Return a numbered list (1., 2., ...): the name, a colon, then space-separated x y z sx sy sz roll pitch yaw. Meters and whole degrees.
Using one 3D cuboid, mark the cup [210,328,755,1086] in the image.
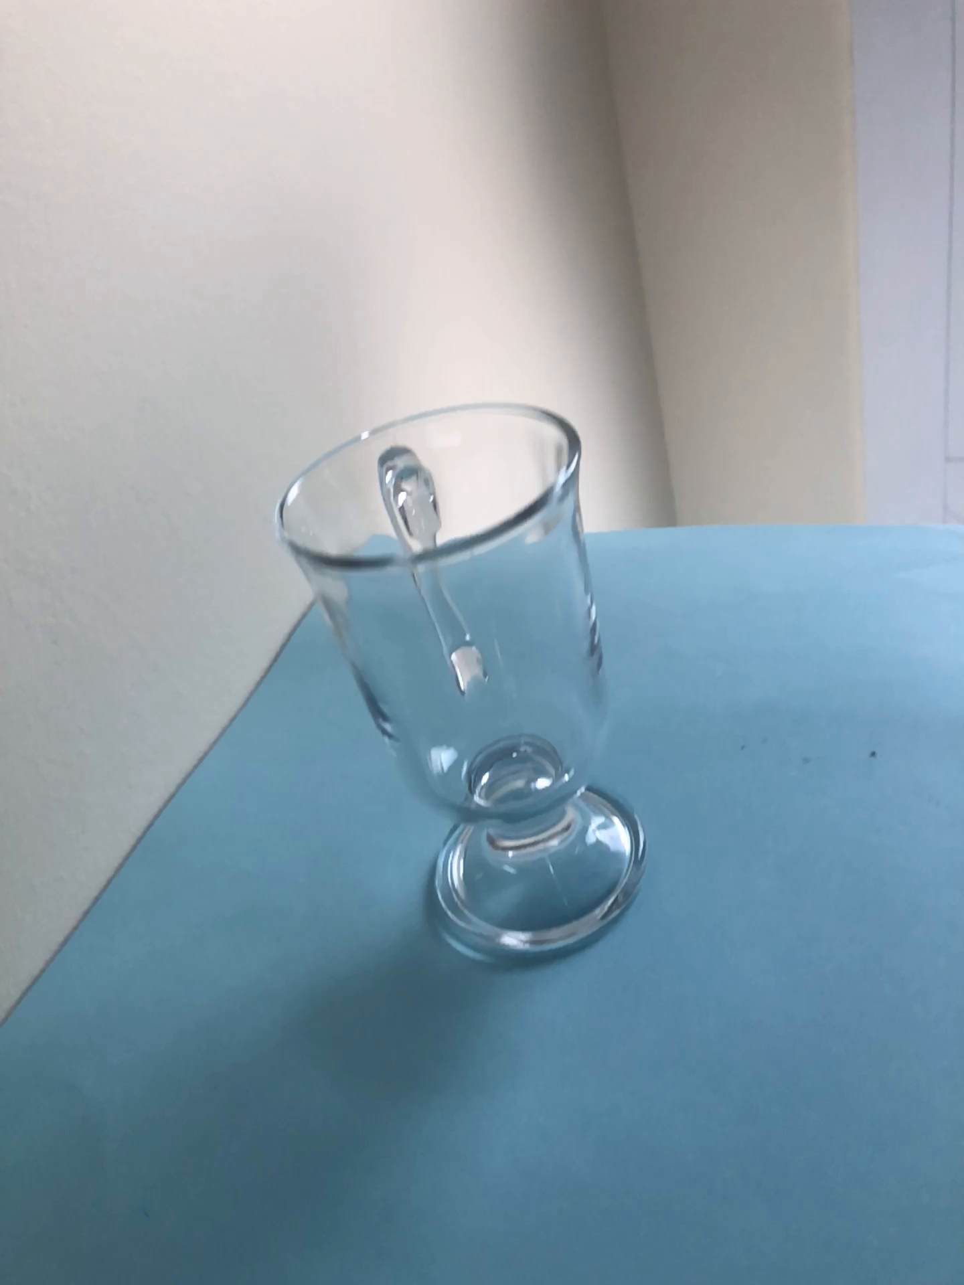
1. cup: 0.000 0.010 0.242 0.070 0.119 0.100 -21 35 -8
